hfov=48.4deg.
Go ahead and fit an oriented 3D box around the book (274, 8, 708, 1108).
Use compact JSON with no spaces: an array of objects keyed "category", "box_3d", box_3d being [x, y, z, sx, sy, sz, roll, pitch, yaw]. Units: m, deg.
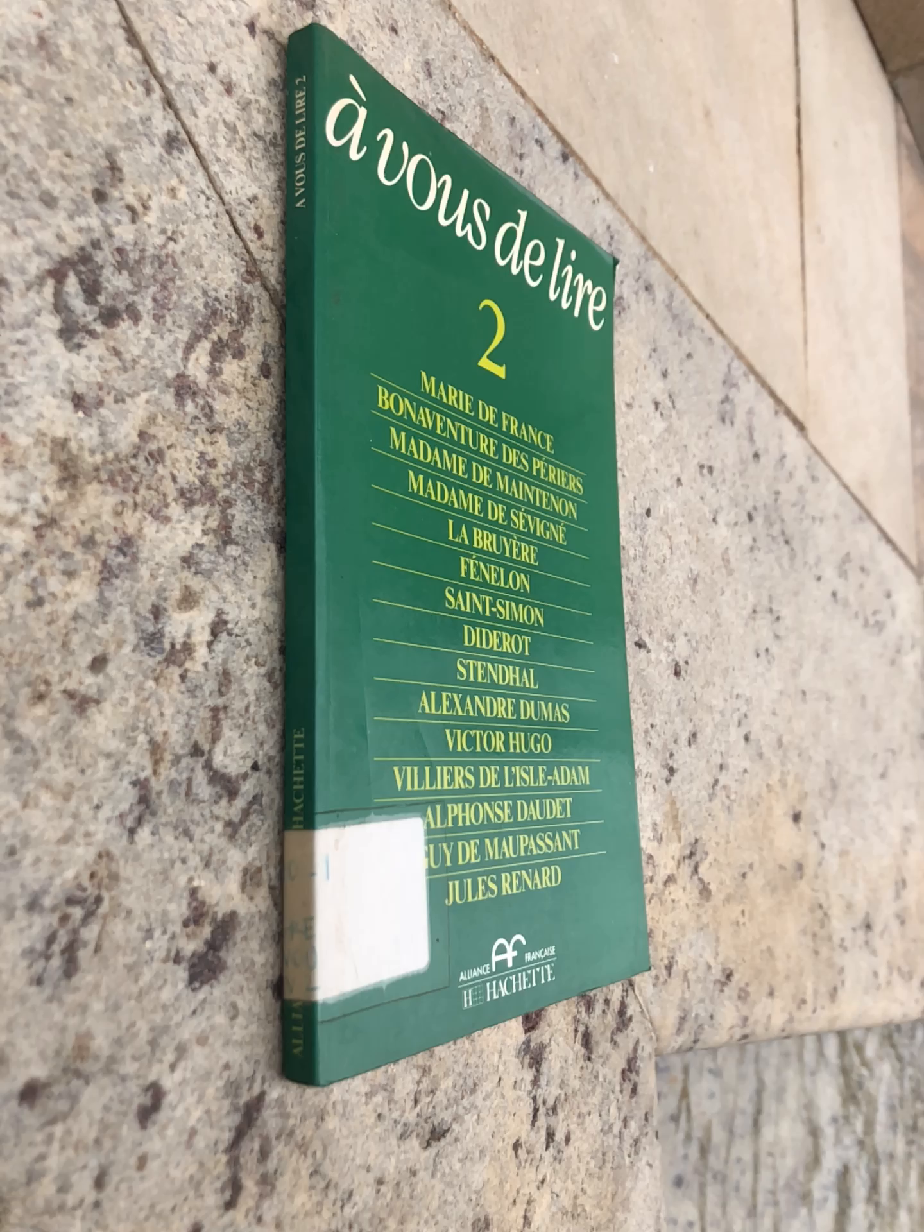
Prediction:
[{"category":"book","box_3d":[0.014,-0.012,0.252,0.141,0.017,0.210,11,74,-52]}]
